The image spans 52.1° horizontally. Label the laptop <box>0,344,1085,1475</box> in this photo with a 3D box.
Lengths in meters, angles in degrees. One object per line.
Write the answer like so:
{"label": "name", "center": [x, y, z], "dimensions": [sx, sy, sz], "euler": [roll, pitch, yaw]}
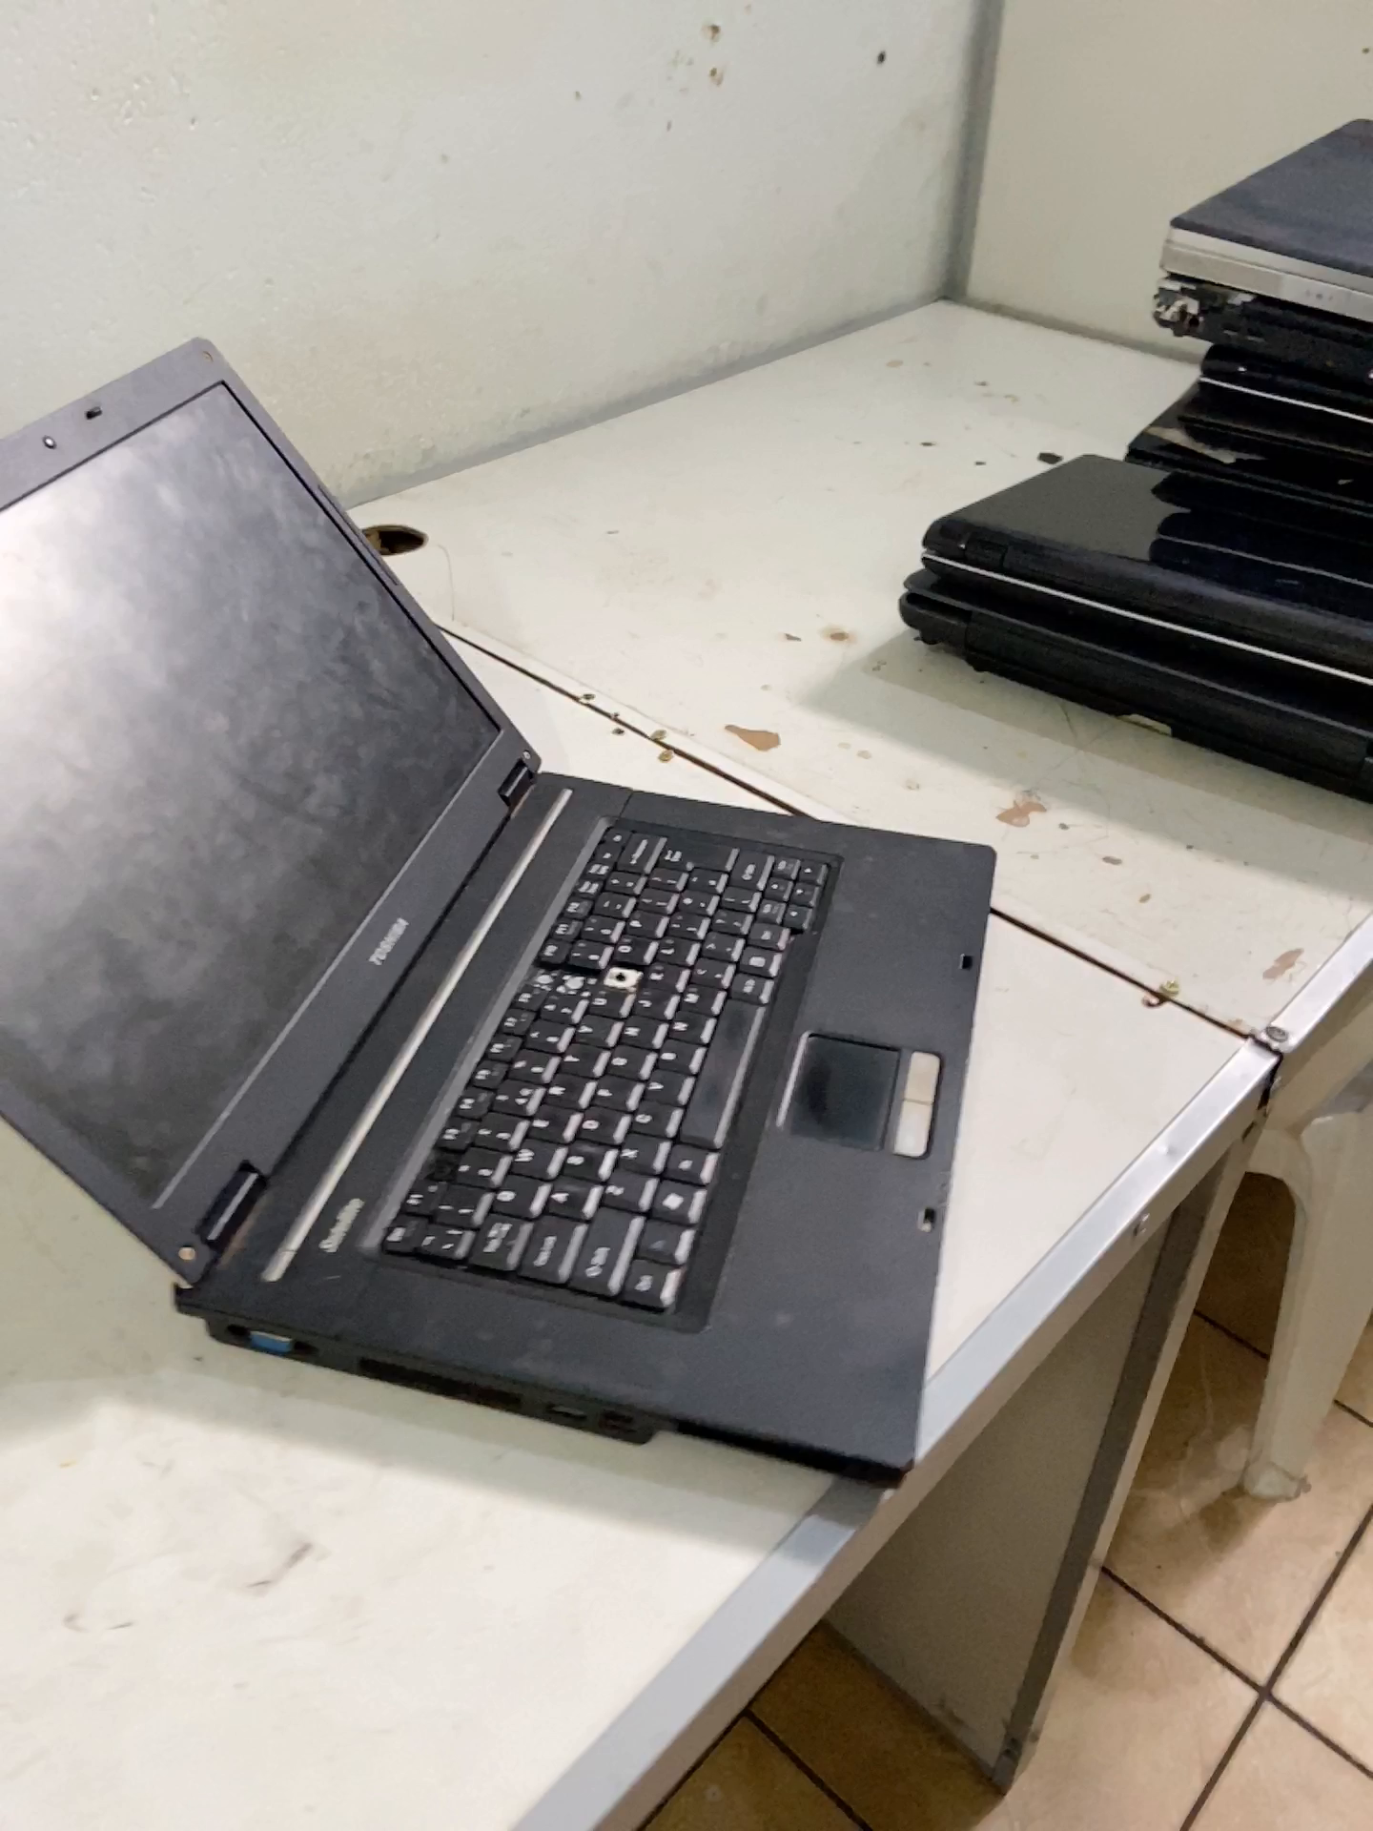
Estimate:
{"label": "laptop", "center": [-0.075, -0.047, 0.557], "dimensions": [0.401, 0.212, 0.358], "euler": [10, 39, 11]}
